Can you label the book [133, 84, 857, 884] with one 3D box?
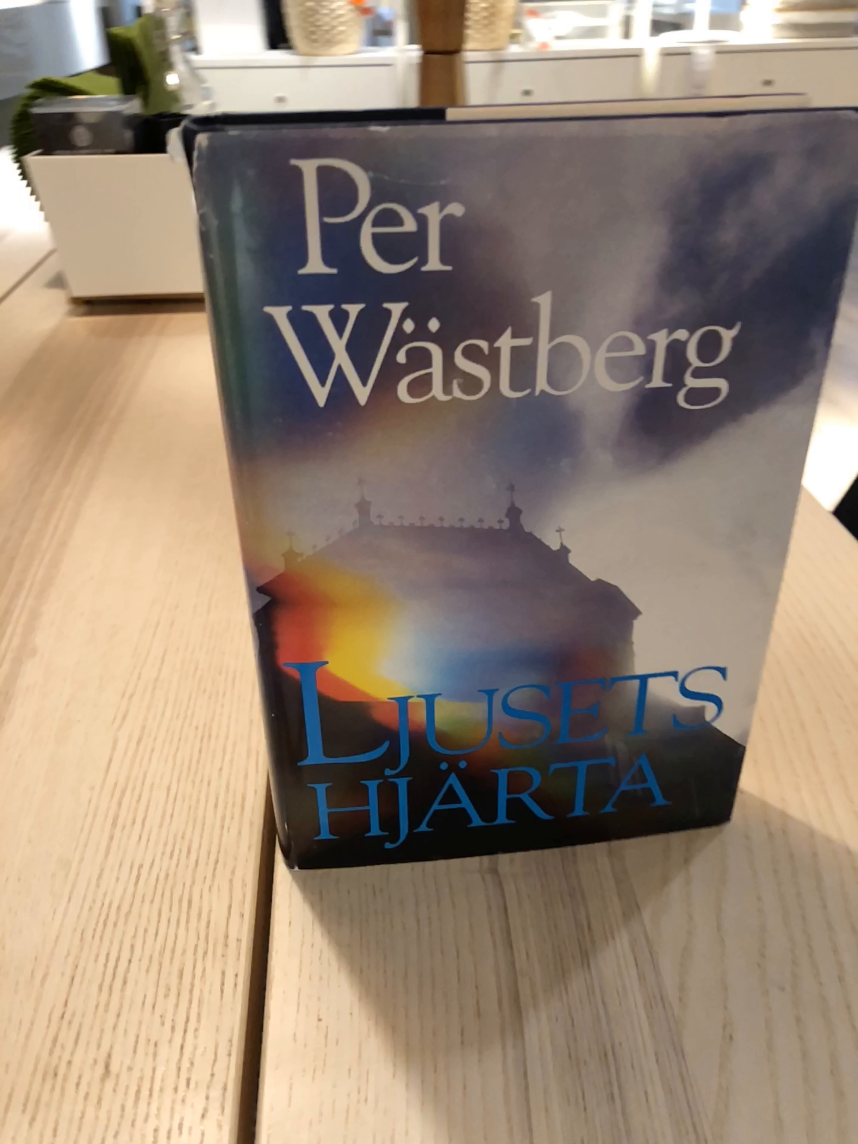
[{"bbox_3d":[0.023,-0.012,0.275,0.166,0.221,0.042,-4,31,-5],"label":"book"}]
